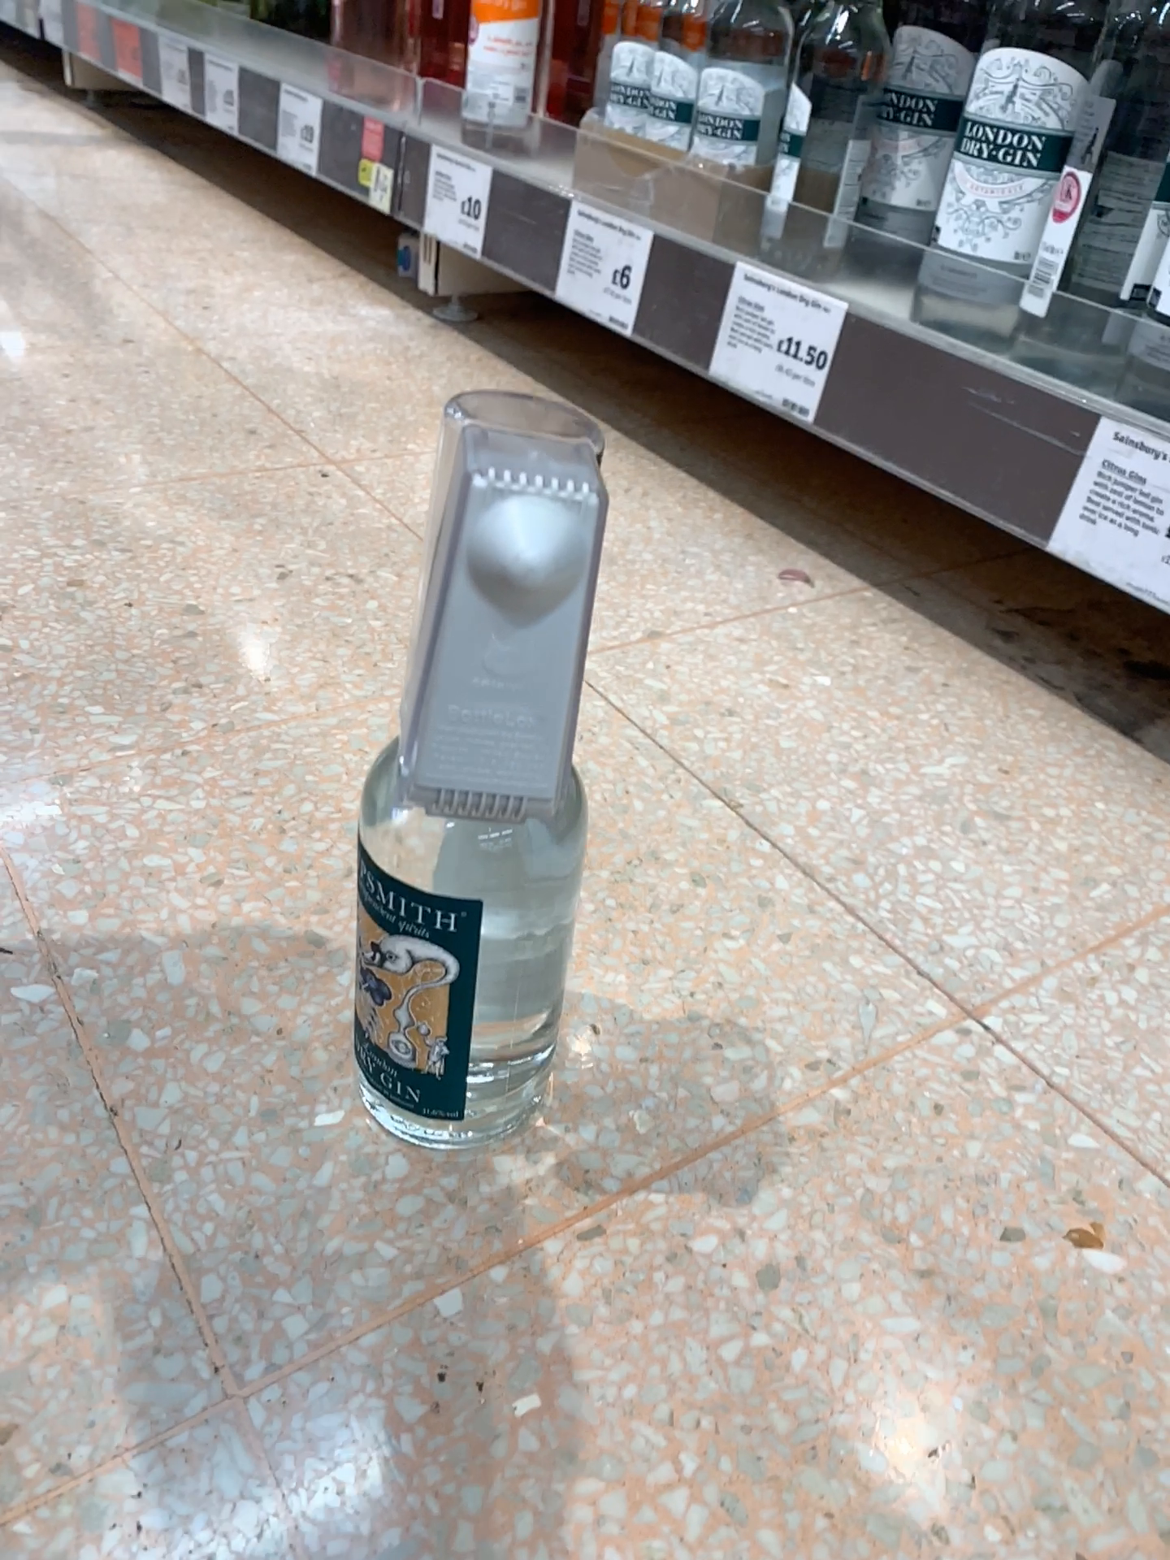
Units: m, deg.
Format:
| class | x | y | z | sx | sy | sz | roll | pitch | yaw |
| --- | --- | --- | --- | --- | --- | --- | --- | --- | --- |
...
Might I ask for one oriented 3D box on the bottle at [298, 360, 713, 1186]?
| class | x | y | z | sx | sy | sz | roll | pitch | yaw |
| --- | --- | --- | --- | --- | --- | --- | --- | --- | --- |
| bottle | -0.033 | 0.005 | 0.349 | 0.069 | 0.222 | 0.075 | 6 | 34 | -4 |
